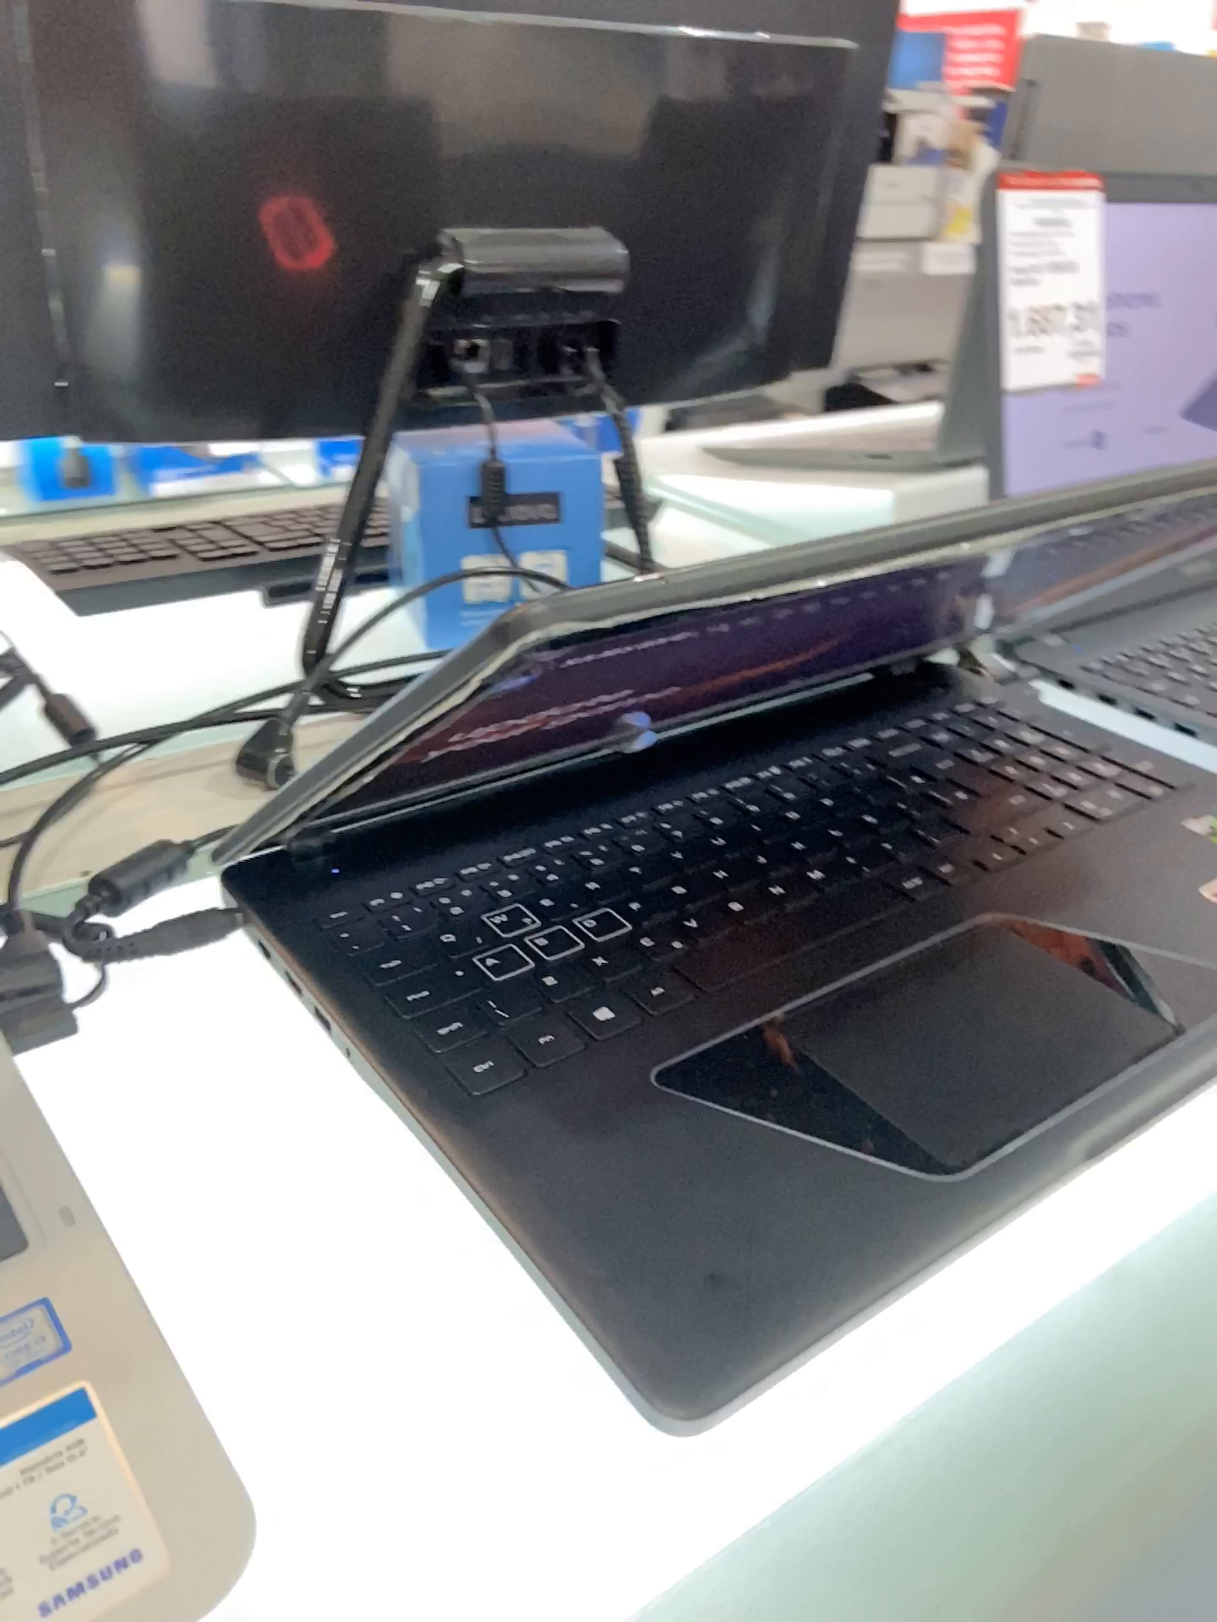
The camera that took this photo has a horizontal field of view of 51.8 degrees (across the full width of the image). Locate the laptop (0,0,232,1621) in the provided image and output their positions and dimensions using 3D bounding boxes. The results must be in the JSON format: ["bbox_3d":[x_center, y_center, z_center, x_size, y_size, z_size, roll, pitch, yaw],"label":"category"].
[{"bbox_3d":[-0.339,0.027,0.179,0.432,0.223,0.345,-19,34,-32],"label":"laptop"}]

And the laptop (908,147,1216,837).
[{"bbox_3d":[0.423,-0.202,0.655,0.414,0.234,0.308,-17,32,-33],"label":"laptop"}]

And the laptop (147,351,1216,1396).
[{"bbox_3d":[0.087,-0.045,0.408,0.369,0.152,0.259,-17,32,-32],"label":"laptop"}]
